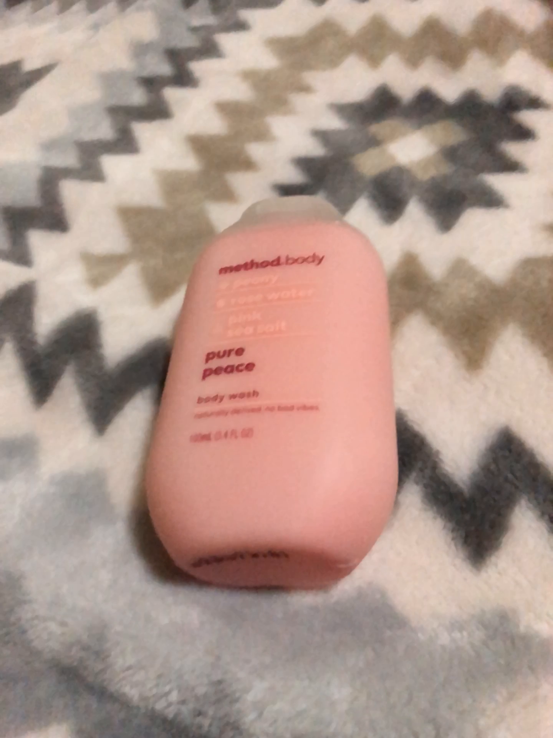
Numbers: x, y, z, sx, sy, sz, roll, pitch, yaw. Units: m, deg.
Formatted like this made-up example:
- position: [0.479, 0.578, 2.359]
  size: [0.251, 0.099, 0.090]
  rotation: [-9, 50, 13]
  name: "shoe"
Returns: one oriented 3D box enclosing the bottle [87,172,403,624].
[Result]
- position: [0.001, 0.000, 0.157]
  size: [0.057, 0.030, 0.110]
  rotation: [0, 54, 13]
  name: "bottle"
